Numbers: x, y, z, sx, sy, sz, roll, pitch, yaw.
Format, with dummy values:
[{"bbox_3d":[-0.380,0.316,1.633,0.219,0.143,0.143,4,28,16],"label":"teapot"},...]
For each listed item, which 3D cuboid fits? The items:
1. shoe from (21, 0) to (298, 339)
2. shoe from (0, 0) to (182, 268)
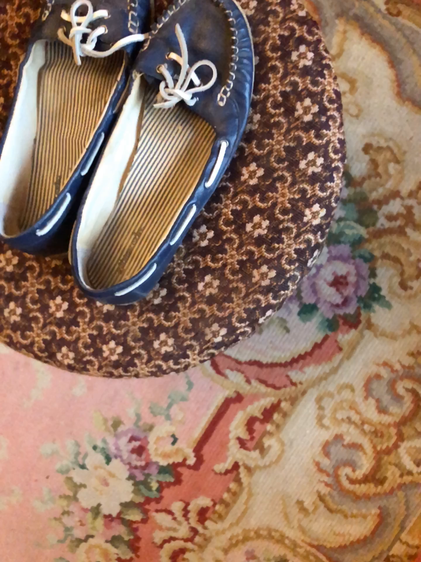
[{"bbox_3d":[-0.035,-0.099,0.346,0.090,0.100,0.250,23,99,0],"label":"shoe"},{"bbox_3d":[-0.114,-0.143,0.340,0.090,0.090,0.250,21,93,6],"label":"shoe"}]
